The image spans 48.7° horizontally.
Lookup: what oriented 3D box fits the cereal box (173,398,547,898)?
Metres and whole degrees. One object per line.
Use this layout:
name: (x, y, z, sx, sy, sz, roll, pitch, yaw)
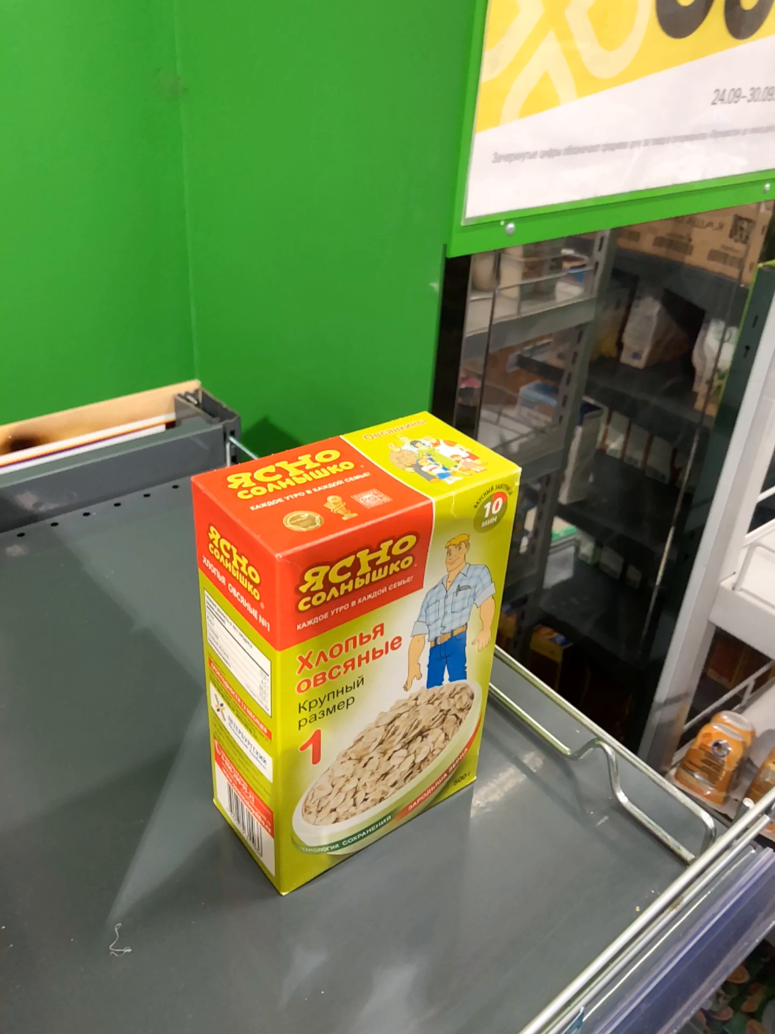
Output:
cereal box: (-0.014, 0.056, 0.394, 0.130, 0.179, 0.080, -20, 38, -33)
